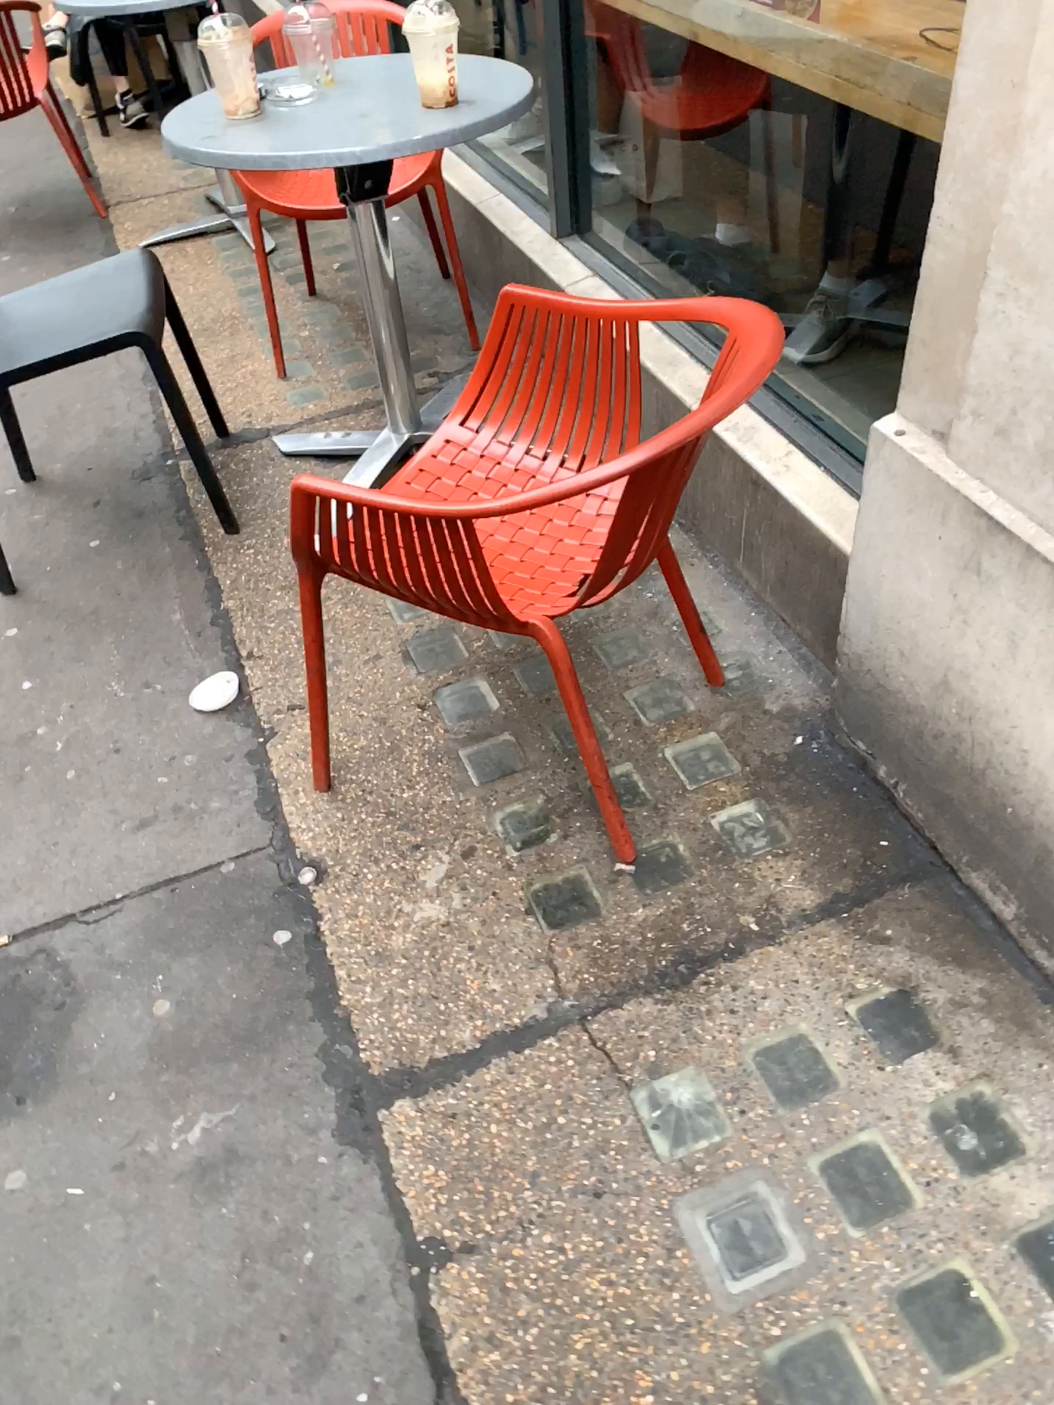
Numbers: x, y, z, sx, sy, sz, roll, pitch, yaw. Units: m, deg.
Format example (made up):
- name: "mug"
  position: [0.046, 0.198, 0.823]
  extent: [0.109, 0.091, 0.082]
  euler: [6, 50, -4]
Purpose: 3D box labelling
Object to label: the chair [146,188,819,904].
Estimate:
- name: "chair"
  position: [-0.003, -0.242, 1.519]
  extent: [0.611, 0.693, 0.584]
  euler: [15, 48, 21]
